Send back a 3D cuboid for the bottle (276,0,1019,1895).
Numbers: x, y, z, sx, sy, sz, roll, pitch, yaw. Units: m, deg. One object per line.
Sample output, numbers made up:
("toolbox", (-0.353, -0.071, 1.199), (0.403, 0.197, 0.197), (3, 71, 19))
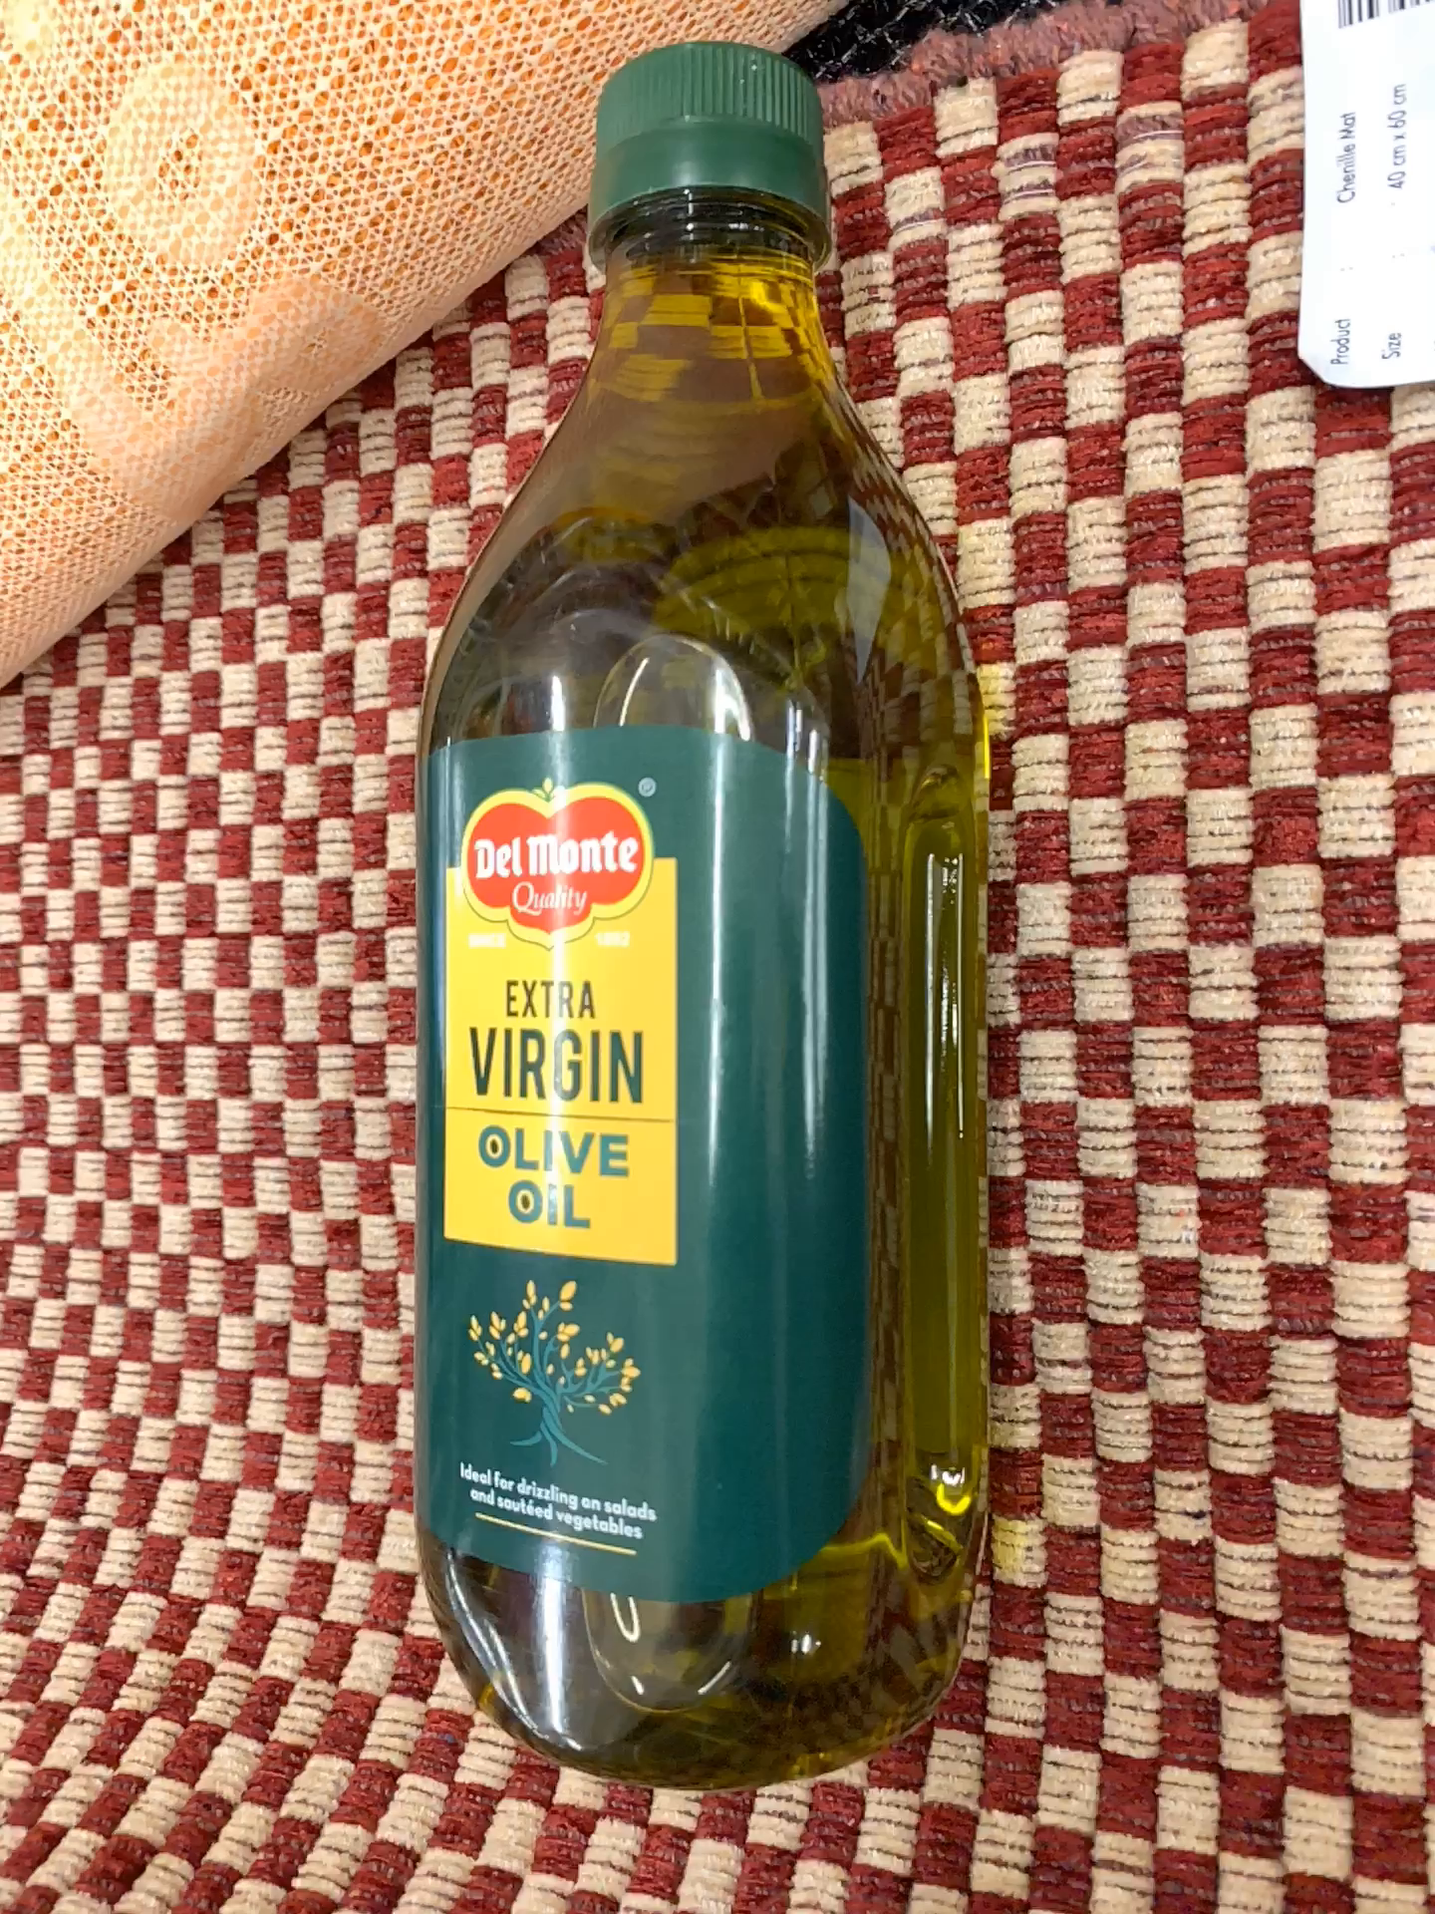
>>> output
("bottle", (-0.005, -0.015, 0.225), (0.080, 0.080, 0.250), (2, 91, 21))
